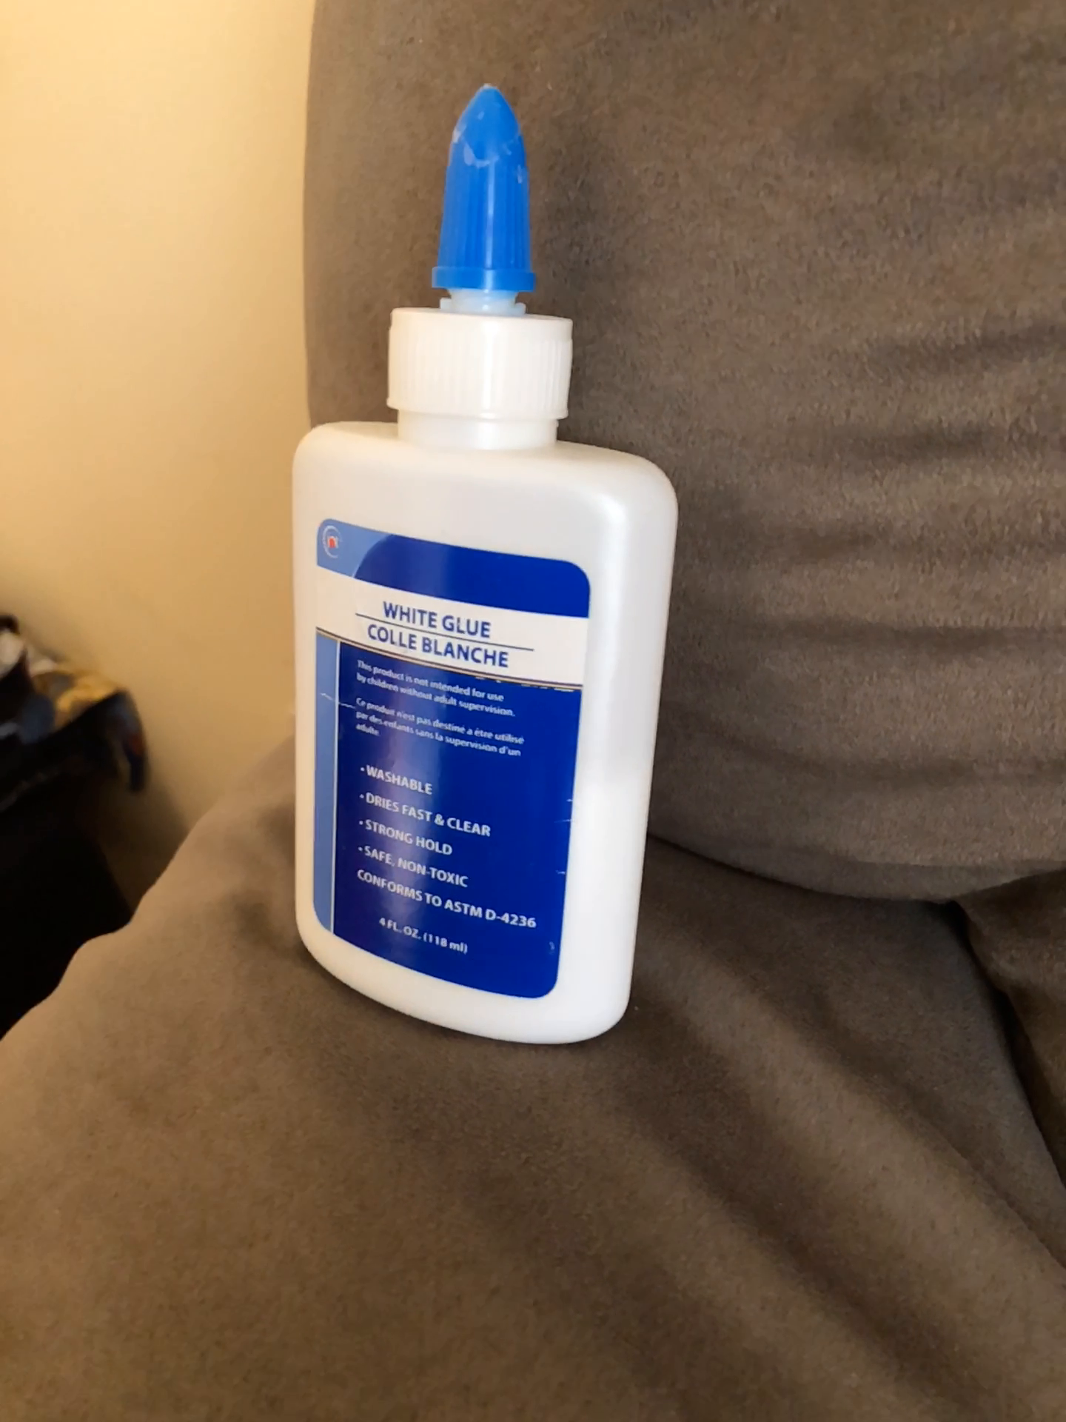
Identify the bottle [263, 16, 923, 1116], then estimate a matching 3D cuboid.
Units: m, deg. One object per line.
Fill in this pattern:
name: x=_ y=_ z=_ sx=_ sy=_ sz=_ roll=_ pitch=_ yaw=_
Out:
bottle: x=0.003 y=-0.020 z=0.171 sx=0.070 sy=0.130 sz=0.040 roll=15 pitch=21 yaw=26
